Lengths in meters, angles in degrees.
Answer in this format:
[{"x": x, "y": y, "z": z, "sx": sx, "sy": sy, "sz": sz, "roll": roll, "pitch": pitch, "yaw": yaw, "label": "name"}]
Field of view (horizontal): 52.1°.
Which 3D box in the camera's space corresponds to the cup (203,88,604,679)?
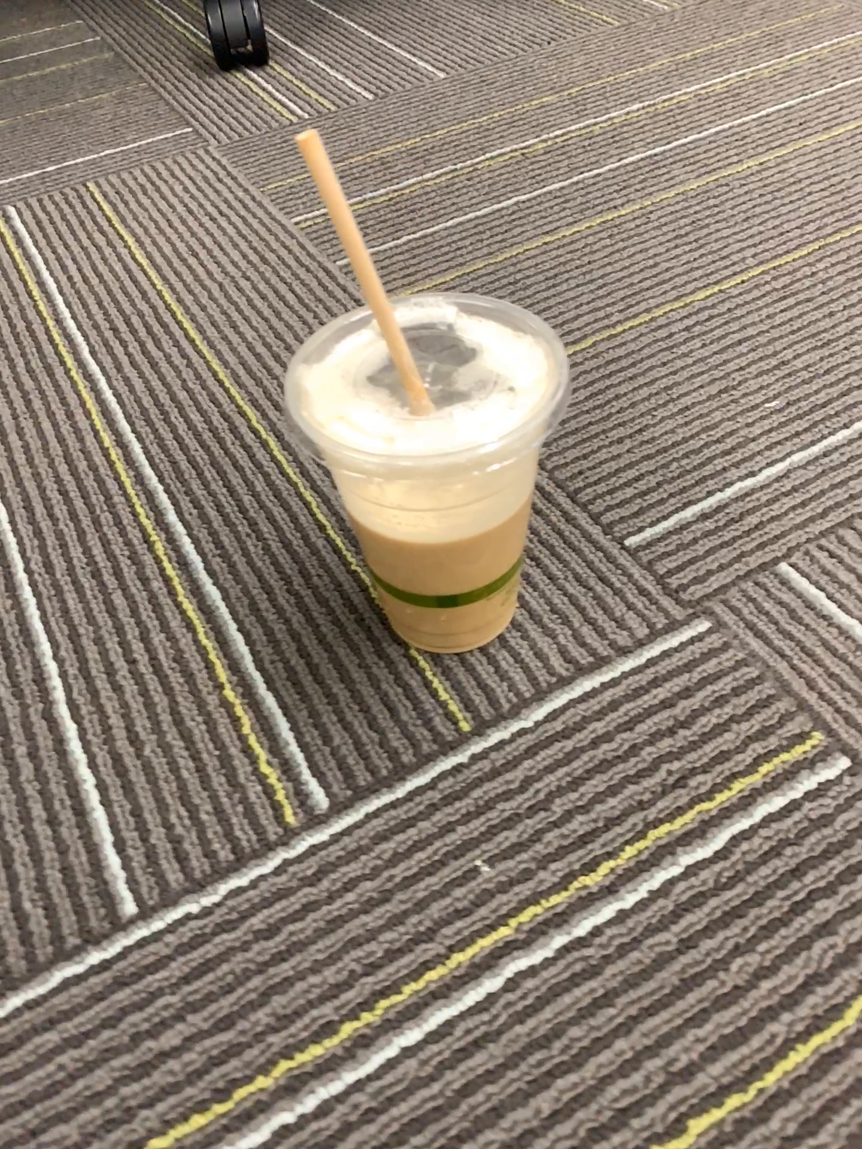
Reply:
[{"x": 0.000, "y": -0.055, "z": 0.315, "sx": 0.100, "sy": 0.179, "sz": 0.090, "roll": -4, "pitch": 47, "yaw": 3, "label": "cup"}]
